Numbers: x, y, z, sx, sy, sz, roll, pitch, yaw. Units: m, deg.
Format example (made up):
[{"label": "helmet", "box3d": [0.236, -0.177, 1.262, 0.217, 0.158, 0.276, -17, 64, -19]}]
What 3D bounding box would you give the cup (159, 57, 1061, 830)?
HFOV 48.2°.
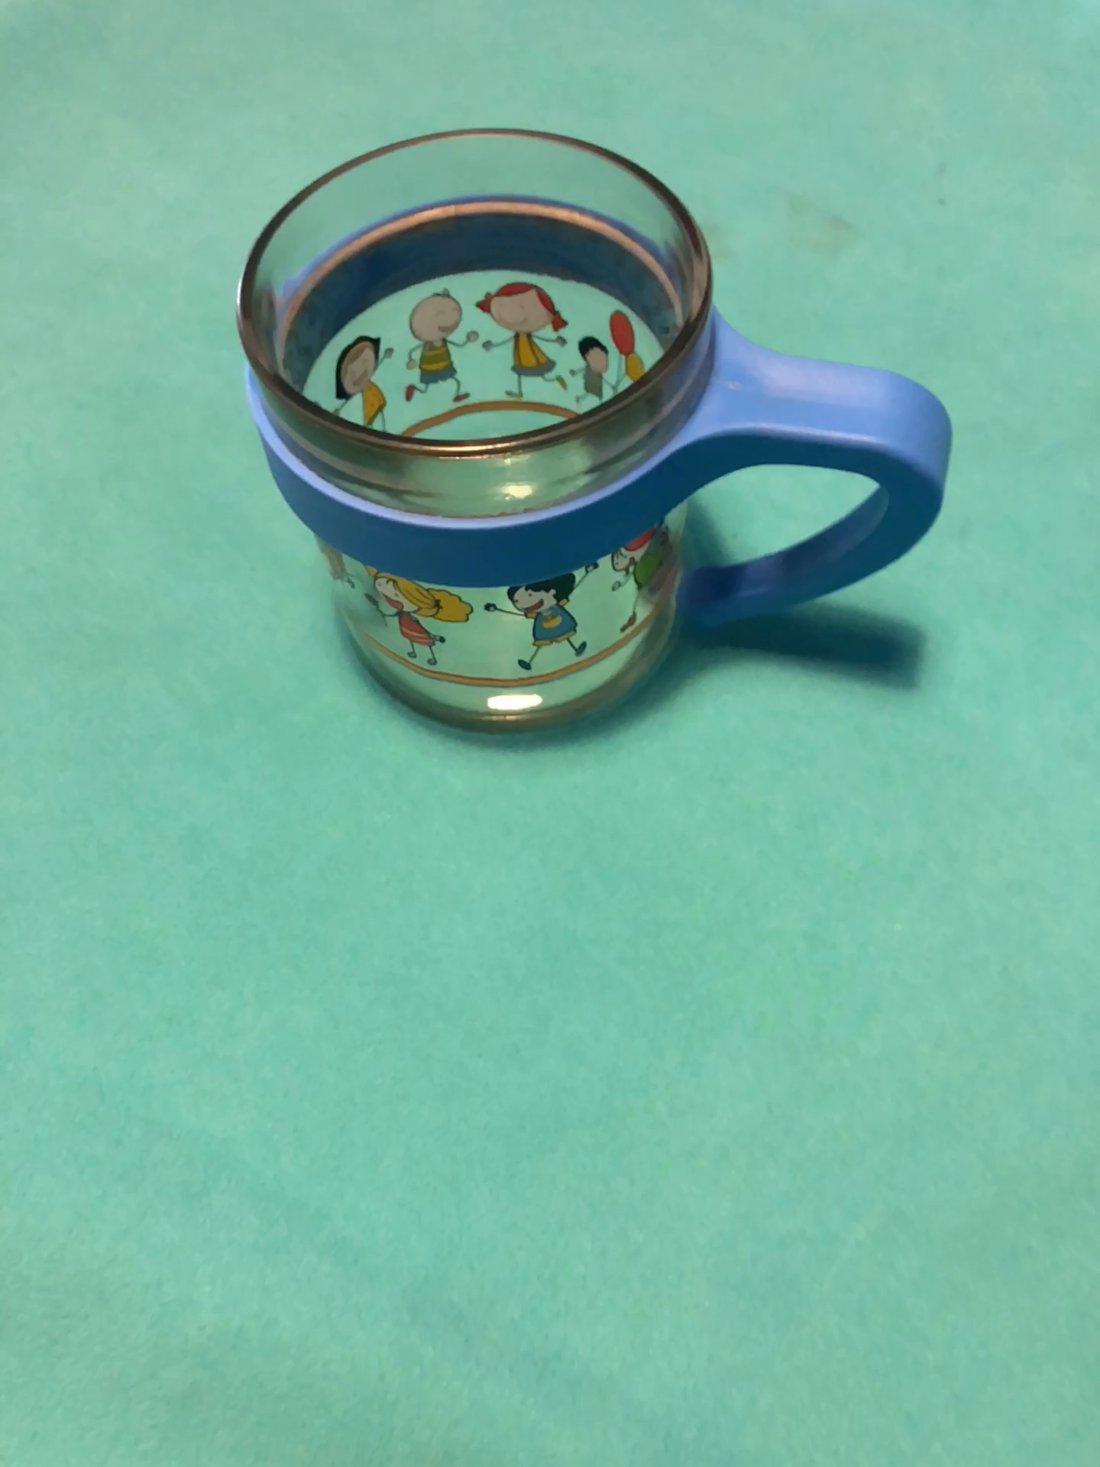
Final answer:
[{"label": "cup", "box3d": [0.015, -0.055, 0.241, 0.130, 0.090, 0.090, 13, 61, 10]}]
